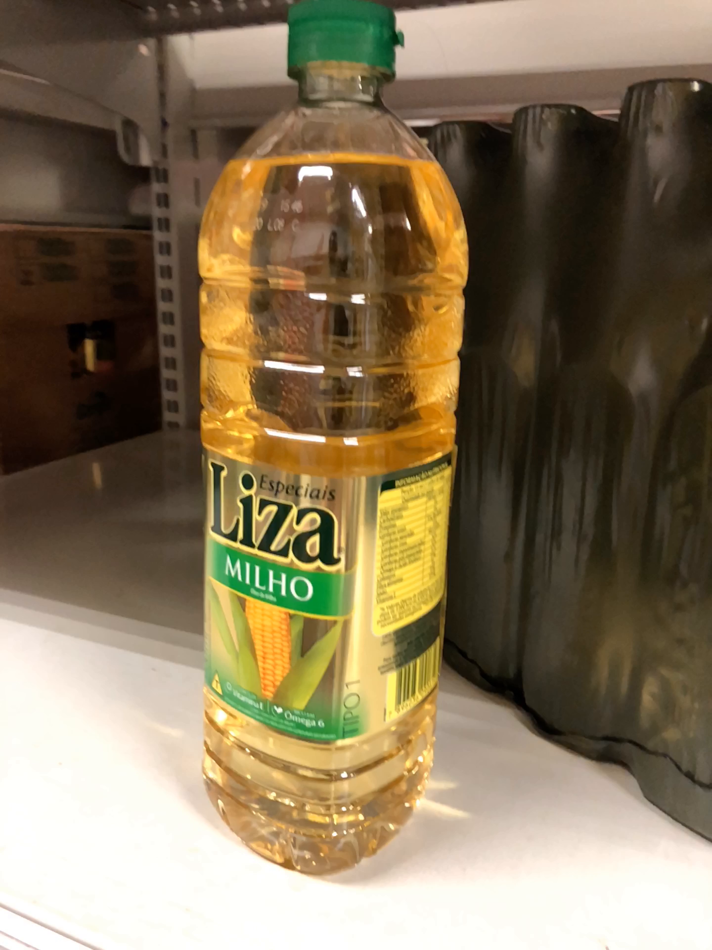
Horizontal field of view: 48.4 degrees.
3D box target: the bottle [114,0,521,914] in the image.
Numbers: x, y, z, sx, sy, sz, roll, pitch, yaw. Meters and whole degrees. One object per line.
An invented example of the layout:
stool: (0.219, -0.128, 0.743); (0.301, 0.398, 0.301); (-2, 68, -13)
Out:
bottle: (-0.009, -0.012, 0.239); (0.080, 0.249, 0.070); (10, 18, 32)
